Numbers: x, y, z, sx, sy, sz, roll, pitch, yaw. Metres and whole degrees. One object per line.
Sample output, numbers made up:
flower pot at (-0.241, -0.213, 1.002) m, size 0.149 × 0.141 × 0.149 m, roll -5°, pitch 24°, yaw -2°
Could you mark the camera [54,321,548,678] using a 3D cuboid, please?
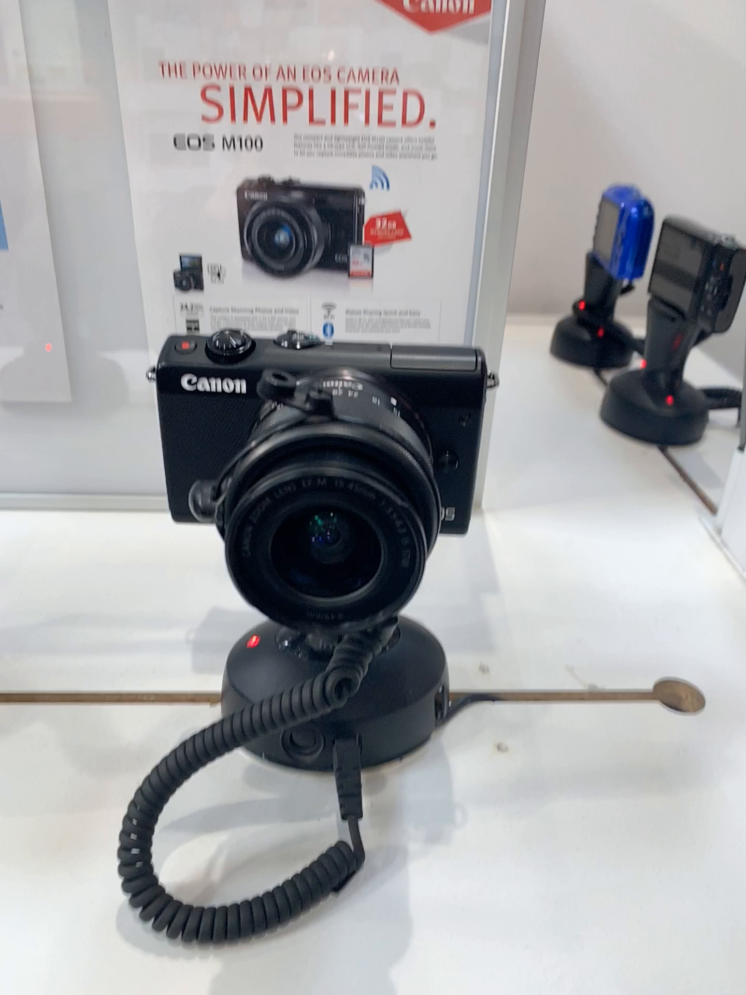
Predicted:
camera at (-0.016, -0.006, 0.226) m, size 0.110 × 0.066 × 0.093 m, roll 3°, pitch 24°, yaw 1°
